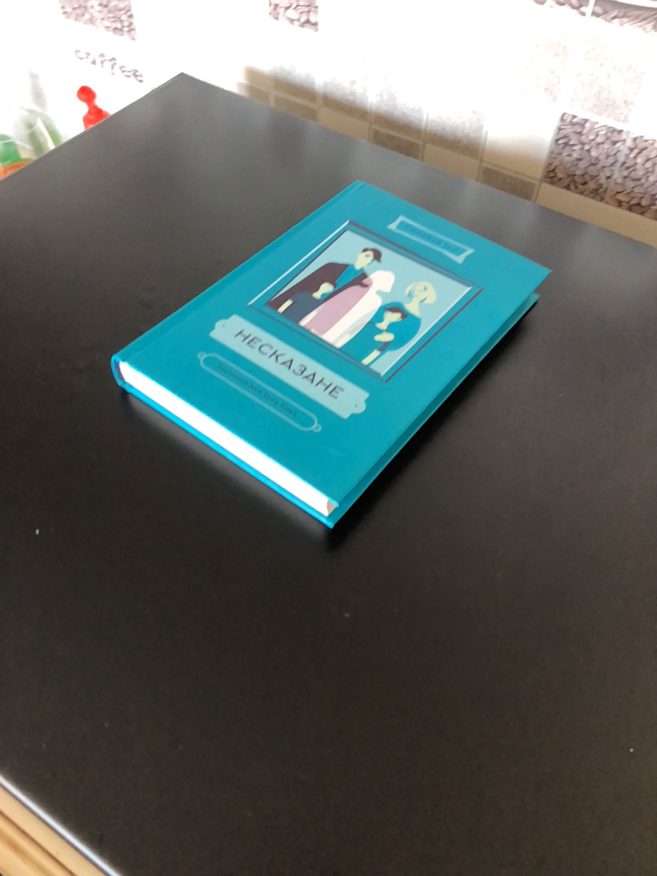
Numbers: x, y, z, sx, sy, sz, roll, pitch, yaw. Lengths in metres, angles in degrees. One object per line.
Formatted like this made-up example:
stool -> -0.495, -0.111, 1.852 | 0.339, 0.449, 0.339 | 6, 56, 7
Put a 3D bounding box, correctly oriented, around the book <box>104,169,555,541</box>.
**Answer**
book -> 0.008, -0.064, 0.408 | 0.150, 0.030, 0.211 | 32, 58, 20
